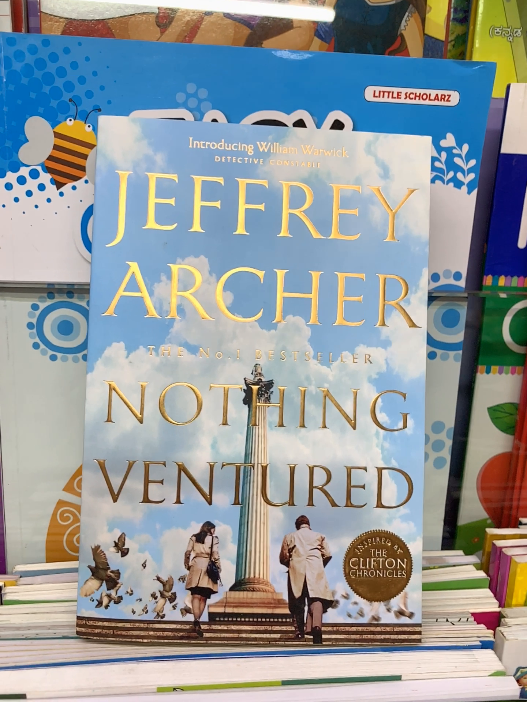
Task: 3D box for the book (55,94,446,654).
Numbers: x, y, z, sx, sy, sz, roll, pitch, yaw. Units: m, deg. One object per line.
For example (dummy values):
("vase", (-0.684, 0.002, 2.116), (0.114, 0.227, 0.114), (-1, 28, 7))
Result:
("book", (-0.003, 0.008, 0.206), (0.130, 0.190, 0.030), (2, -2, -2))
